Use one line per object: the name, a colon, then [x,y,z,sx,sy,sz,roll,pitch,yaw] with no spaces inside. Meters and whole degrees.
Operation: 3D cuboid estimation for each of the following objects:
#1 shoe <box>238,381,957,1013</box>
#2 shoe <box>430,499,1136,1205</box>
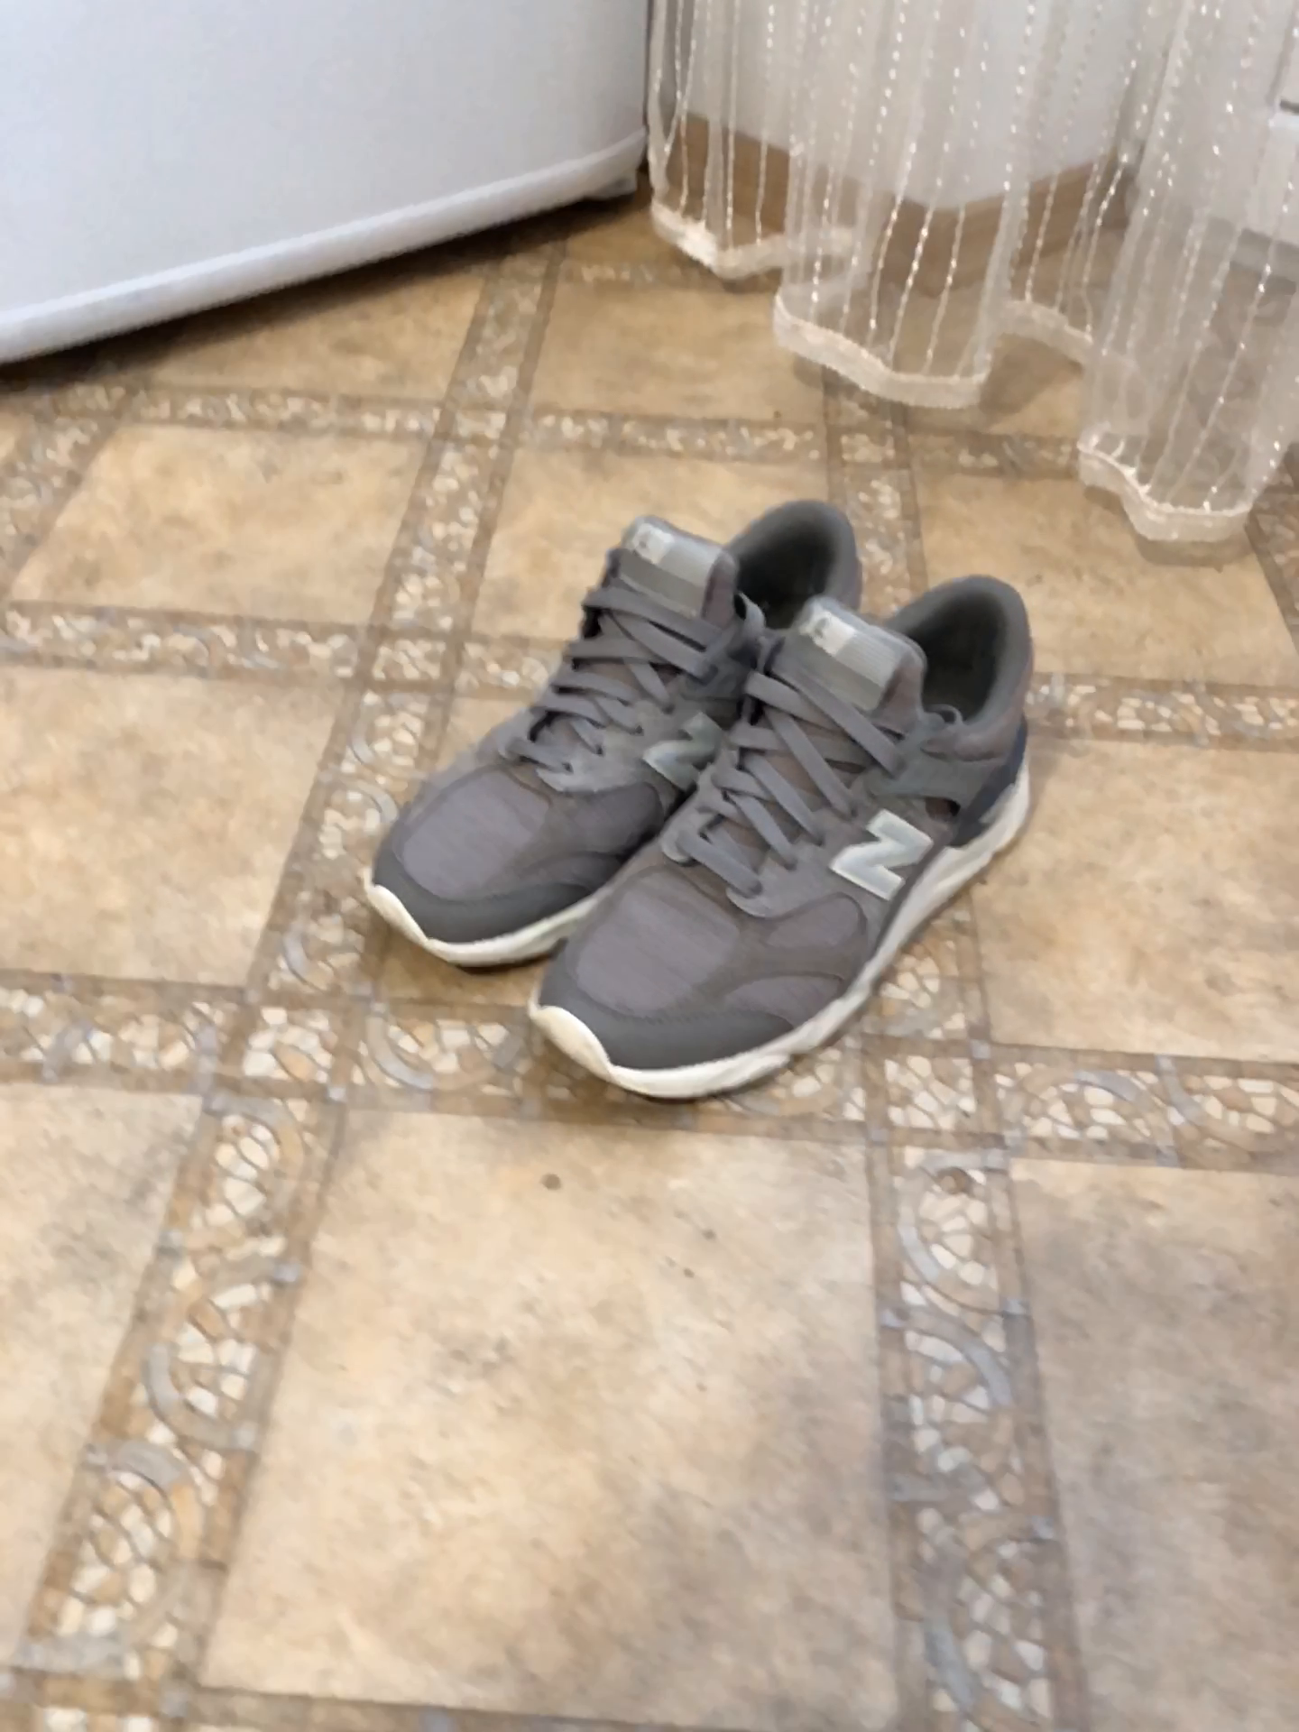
shoe: [-0.010,-0.079,0.571,0.271,0.119,0.100,-33,55,-31]
shoe: [0.057,-0.019,0.543,0.100,0.119,0.271,34,52,28]
